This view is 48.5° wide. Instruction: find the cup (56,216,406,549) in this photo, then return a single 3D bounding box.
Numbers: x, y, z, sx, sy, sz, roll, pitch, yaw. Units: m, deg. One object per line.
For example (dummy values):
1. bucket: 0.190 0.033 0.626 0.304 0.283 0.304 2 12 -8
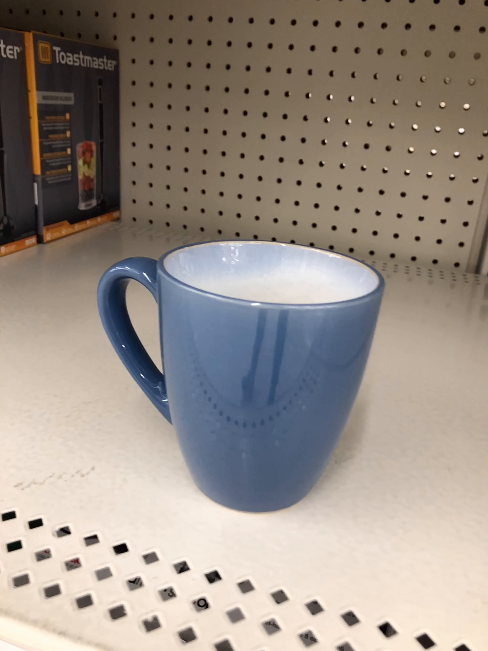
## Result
1. cup: -0.001 0.014 0.253 0.127 0.098 0.097 11 23 16
